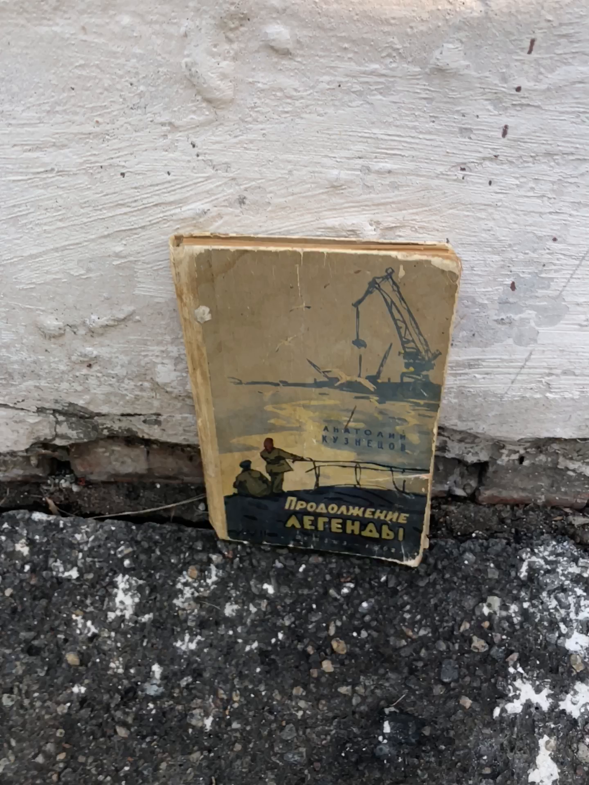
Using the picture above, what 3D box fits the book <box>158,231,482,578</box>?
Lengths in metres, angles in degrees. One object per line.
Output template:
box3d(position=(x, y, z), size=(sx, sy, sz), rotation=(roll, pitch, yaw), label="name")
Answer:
box3d(position=(0.010, 0.014, 0.335), size=(0.136, 0.181, 0.030), rotation=(5, 33, 6), label="book")
